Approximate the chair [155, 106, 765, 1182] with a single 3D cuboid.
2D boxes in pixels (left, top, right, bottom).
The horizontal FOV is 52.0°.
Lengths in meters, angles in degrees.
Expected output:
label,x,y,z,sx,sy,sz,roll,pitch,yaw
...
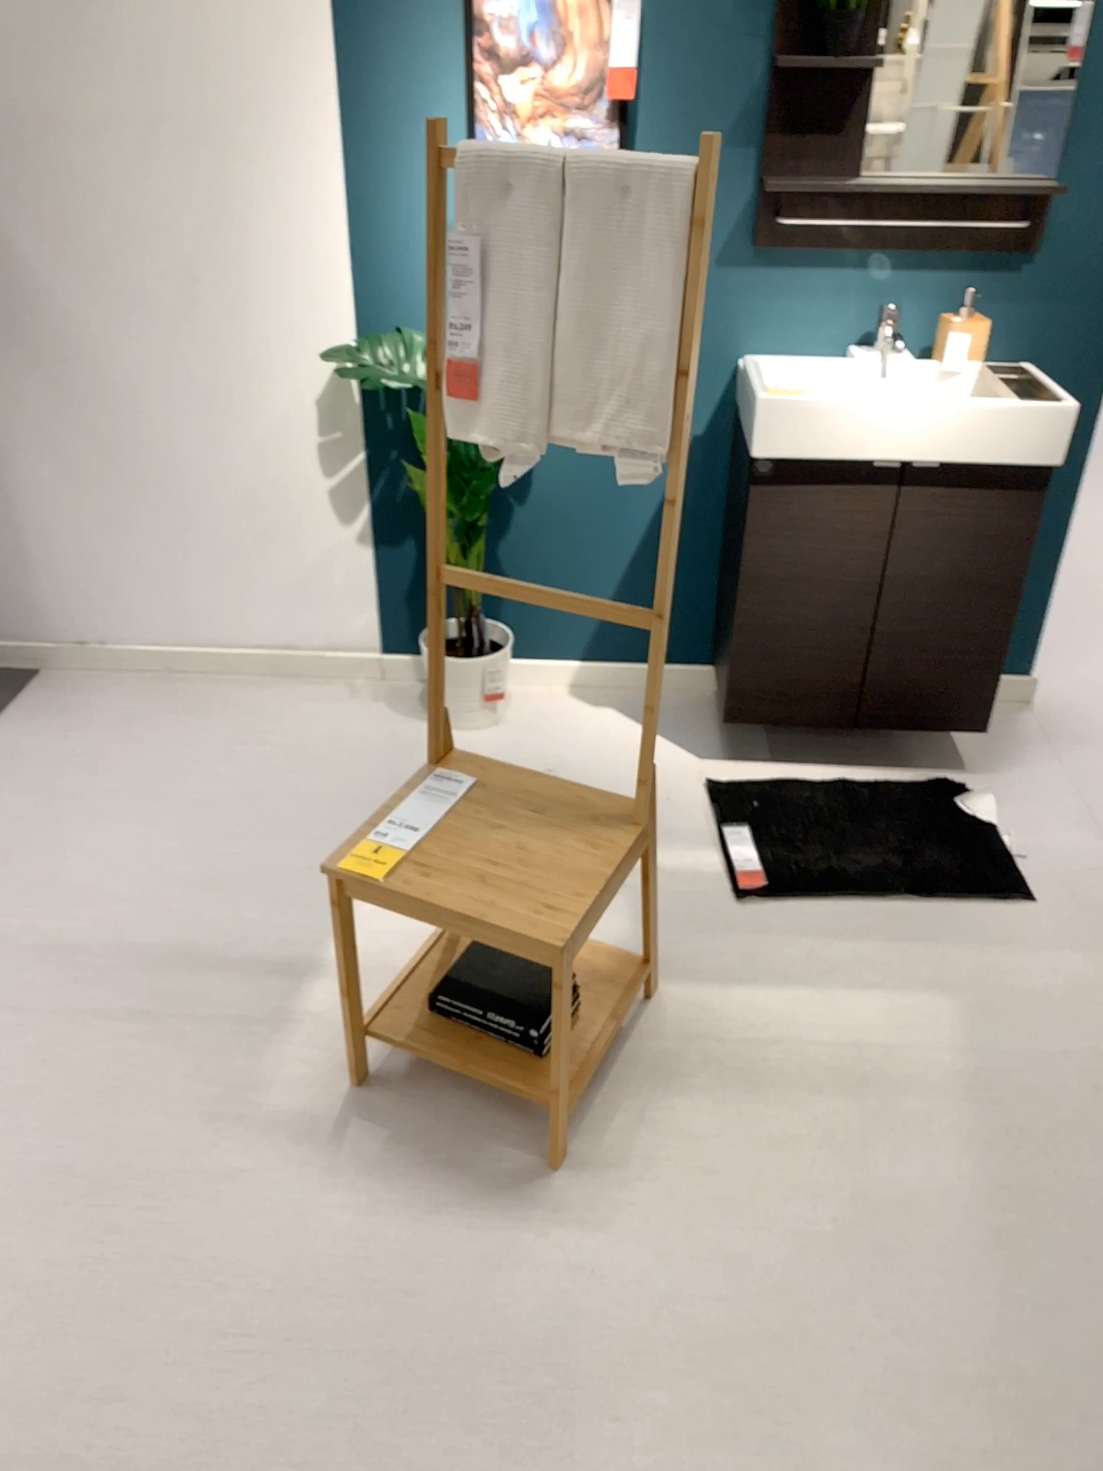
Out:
label,x,y,z,sx,sy,sz,roll,pitch,yaw
chair,-0.077,-0.088,1.521,0.461,1.294,0.472,15,35,22
